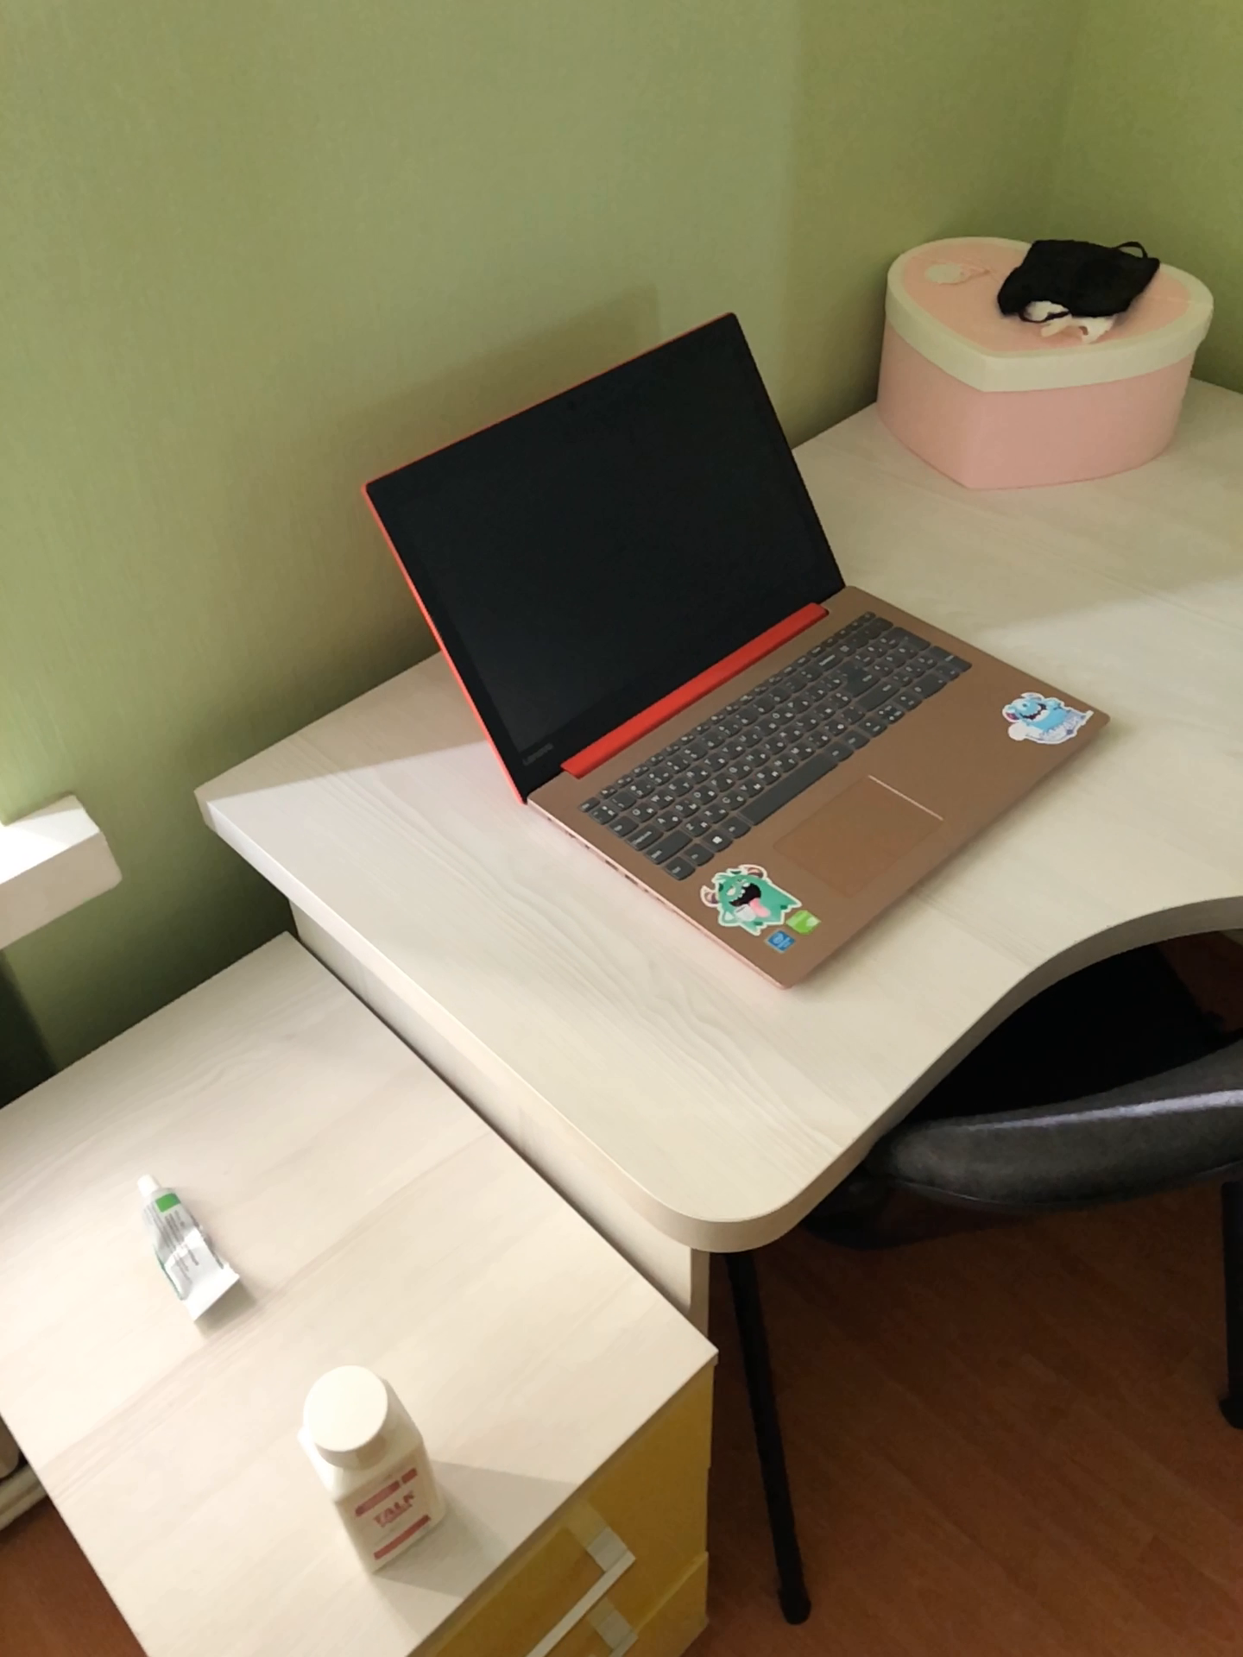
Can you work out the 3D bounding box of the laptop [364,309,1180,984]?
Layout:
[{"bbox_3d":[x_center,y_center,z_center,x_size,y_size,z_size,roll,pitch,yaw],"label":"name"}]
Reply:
[{"bbox_3d":[0.101,-0.164,0.996,0.375,0.198,0.402,-35,53,-29],"label":"laptop"}]
